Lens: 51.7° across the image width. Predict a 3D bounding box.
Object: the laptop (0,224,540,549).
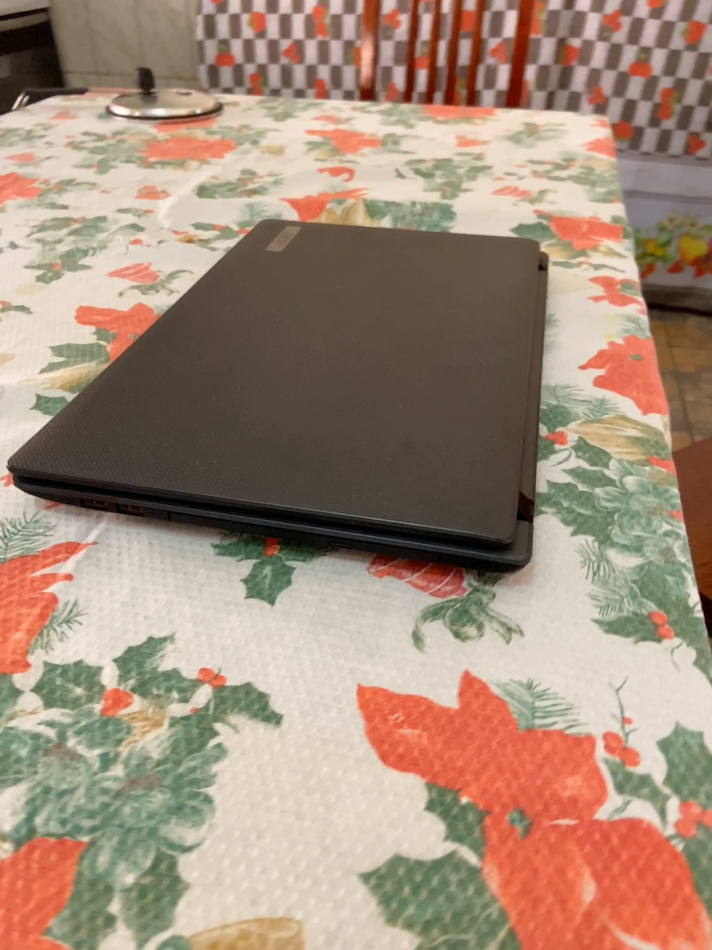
[{"bbox_3d":[-0.009,-0.088,0.441,0.223,0.001,0.352,9,36,10],"label":"laptop"}]
